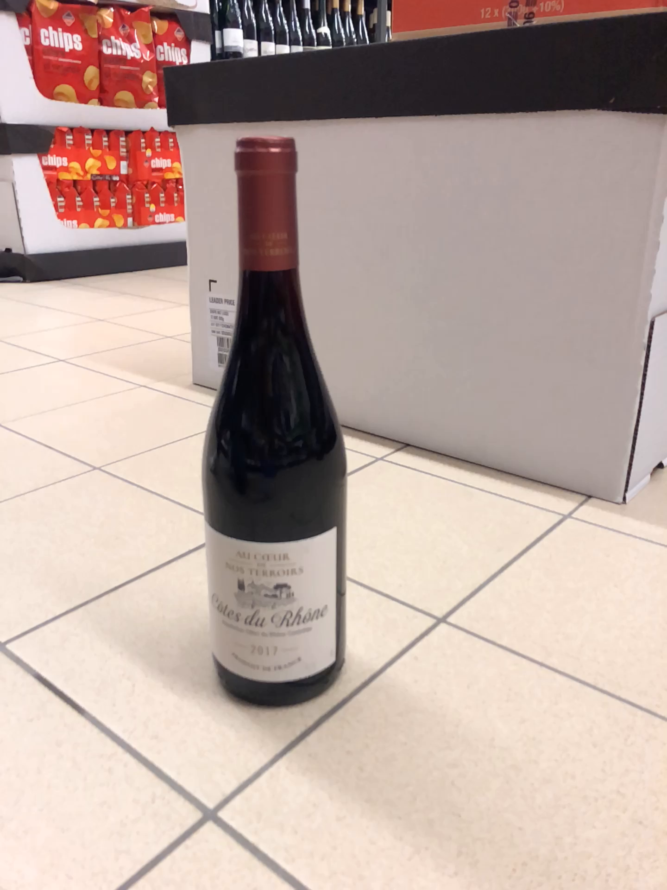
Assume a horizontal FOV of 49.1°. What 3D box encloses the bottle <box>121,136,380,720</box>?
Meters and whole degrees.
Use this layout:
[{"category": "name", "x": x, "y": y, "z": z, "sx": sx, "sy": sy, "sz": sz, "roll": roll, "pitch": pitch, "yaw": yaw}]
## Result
[{"category": "bottle", "x": -0.031, "y": -0.008, "z": 0.368, "sx": 0.090, "sy": 0.269, "sz": 0.091, "roll": 0, "pitch": 20, "yaw": 0}]
